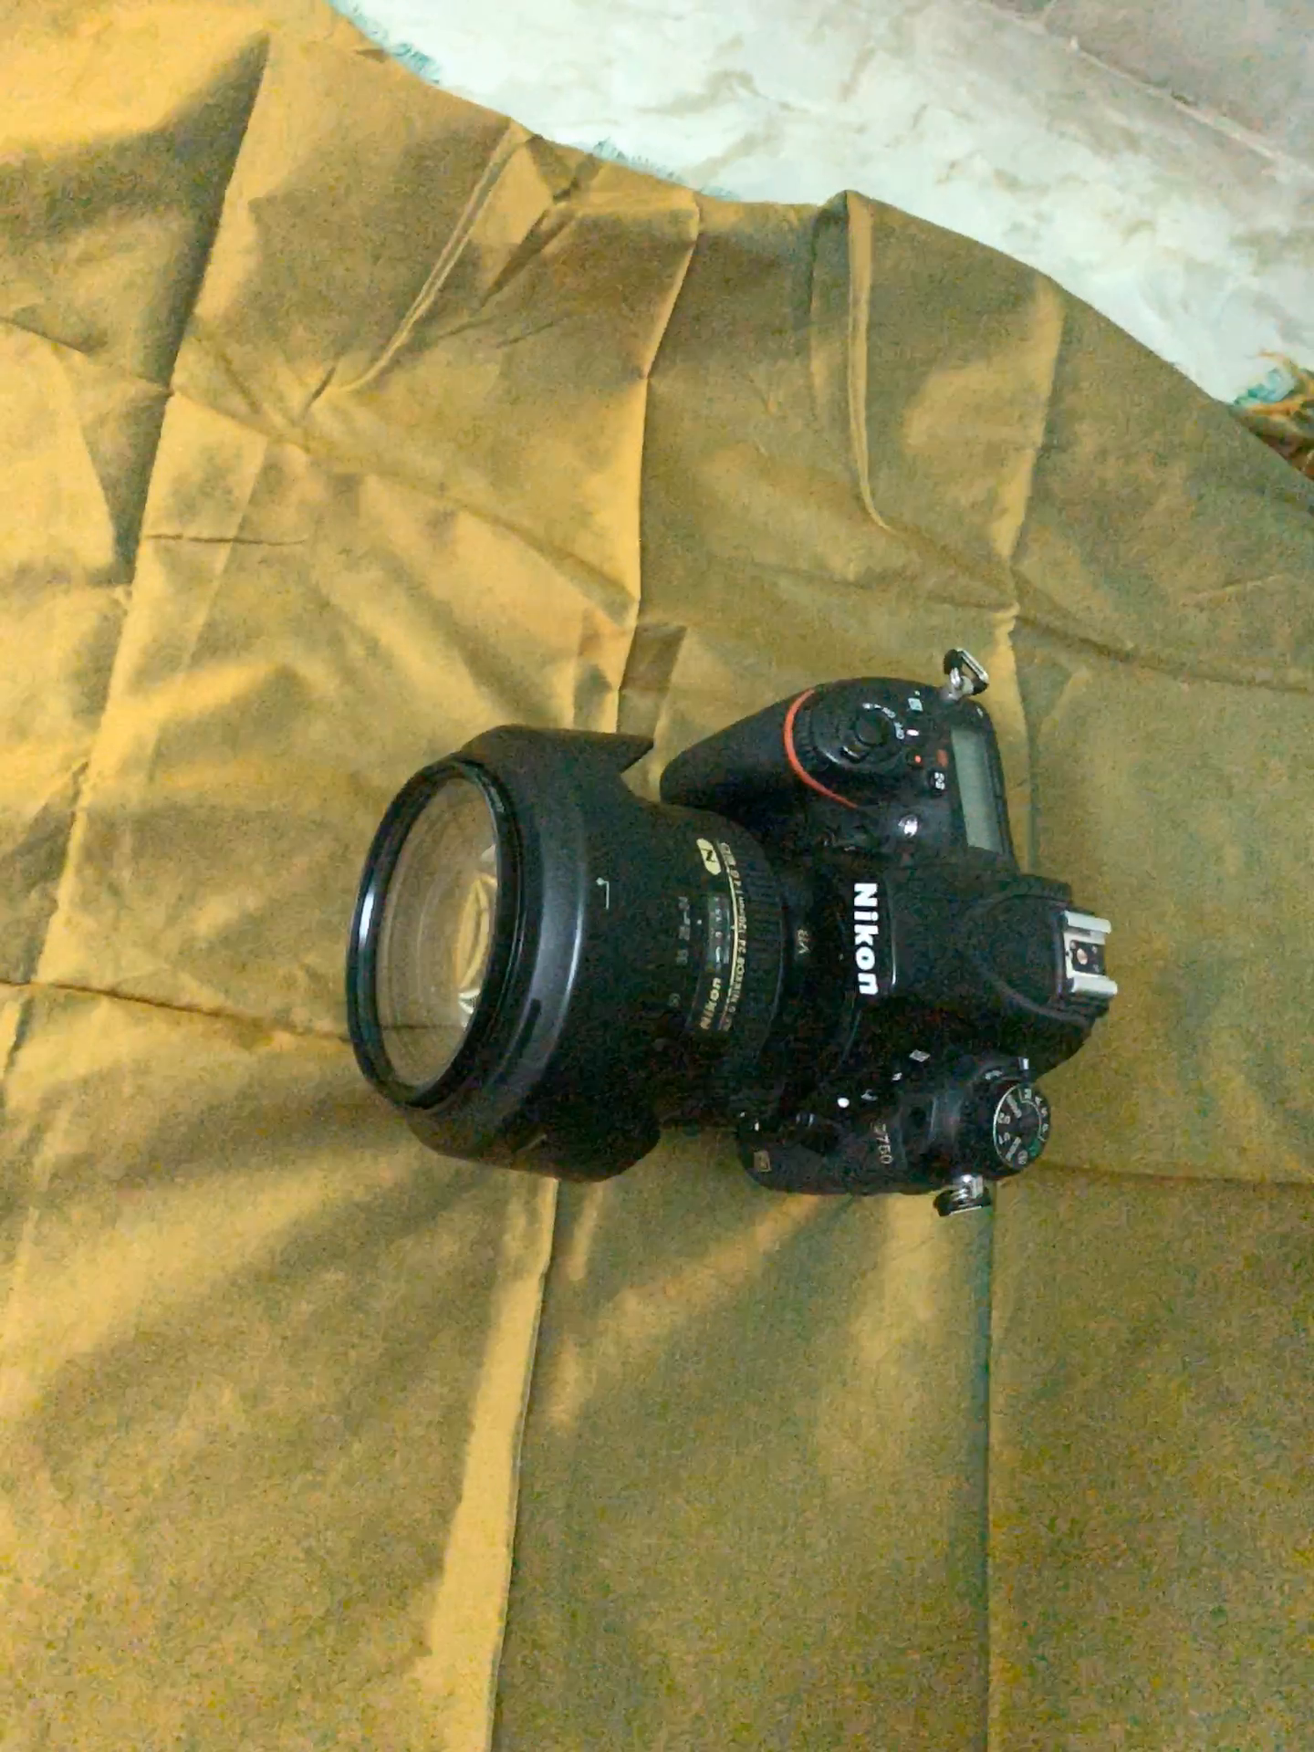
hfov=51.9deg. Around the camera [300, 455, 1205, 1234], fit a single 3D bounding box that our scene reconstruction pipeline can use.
[{"bbox_3d":[0.028,0.012,0.340,0.193,0.100,0.140,13,69,-31],"label":"camera"}]
